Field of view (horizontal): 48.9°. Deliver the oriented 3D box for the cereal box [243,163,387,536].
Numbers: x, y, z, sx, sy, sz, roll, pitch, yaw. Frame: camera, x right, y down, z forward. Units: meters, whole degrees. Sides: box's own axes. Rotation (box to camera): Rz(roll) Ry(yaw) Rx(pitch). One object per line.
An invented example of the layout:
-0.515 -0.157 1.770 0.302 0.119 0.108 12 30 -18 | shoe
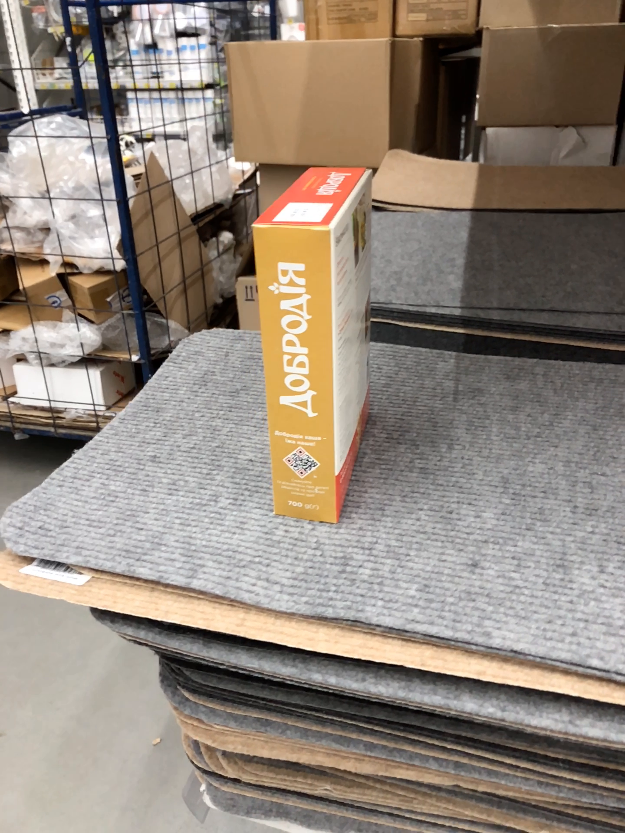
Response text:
0.012 -0.059 0.532 0.060 0.228 0.181 5 31 12 | cereal box
